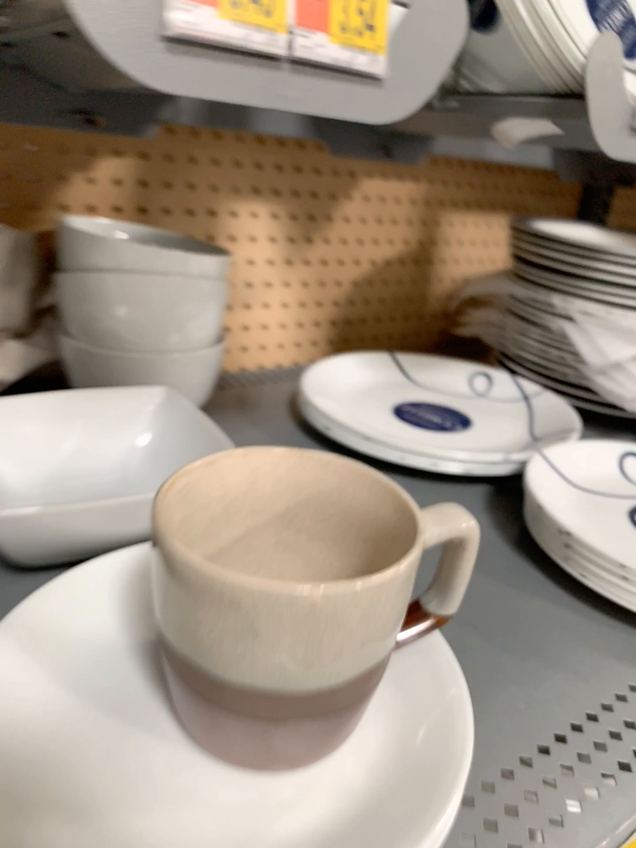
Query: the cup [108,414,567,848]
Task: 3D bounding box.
[{"bbox_3d":[0.001,0.069,0.269,0.138,0.096,0.107,-8,28,-32],"label":"cup"}]
